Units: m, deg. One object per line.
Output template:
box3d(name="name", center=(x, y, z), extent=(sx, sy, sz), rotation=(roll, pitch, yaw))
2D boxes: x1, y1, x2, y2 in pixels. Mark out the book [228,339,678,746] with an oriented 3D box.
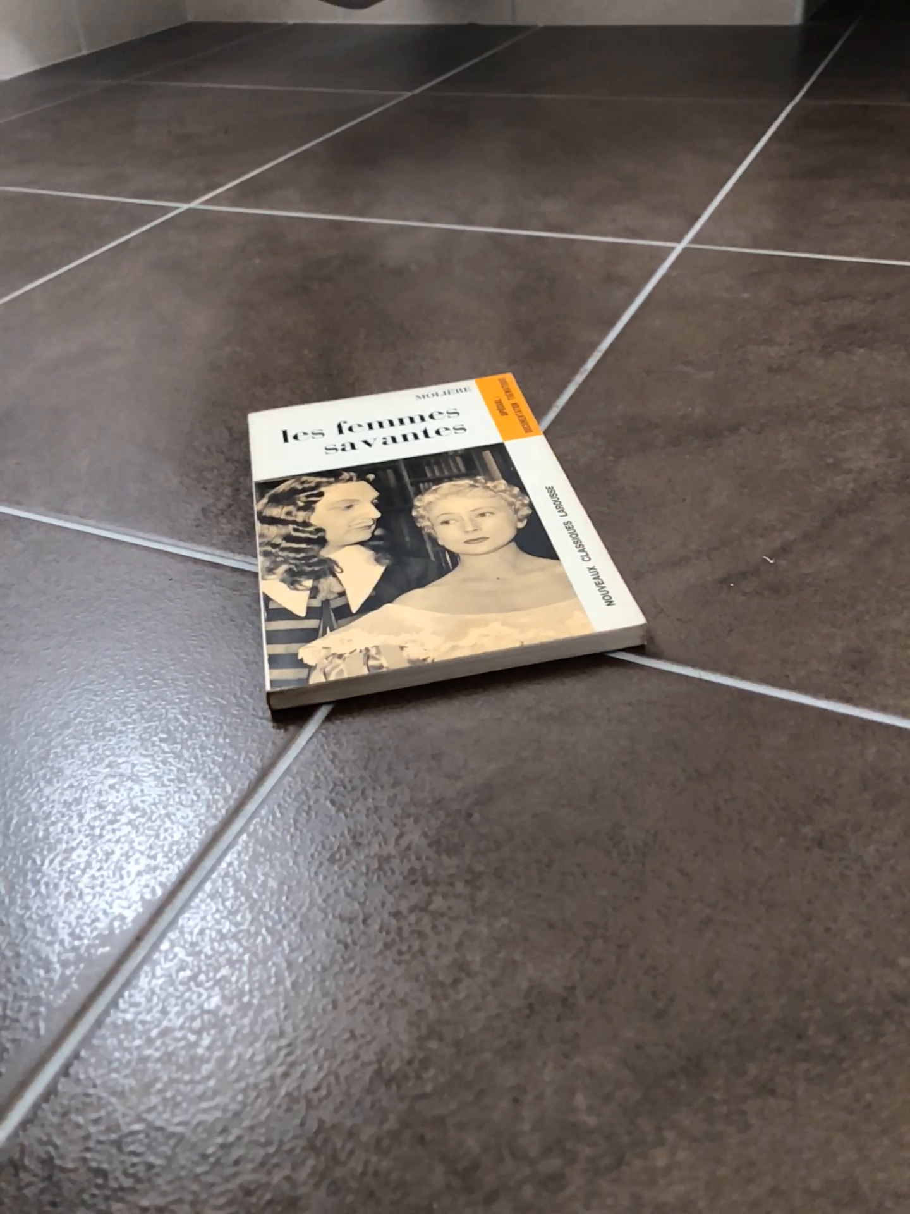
box3d(name="book", center=(-0.013, -0.035, 0.341), extent=(0.120, 0.020, 0.171), rotation=(-10, 42, -6))
